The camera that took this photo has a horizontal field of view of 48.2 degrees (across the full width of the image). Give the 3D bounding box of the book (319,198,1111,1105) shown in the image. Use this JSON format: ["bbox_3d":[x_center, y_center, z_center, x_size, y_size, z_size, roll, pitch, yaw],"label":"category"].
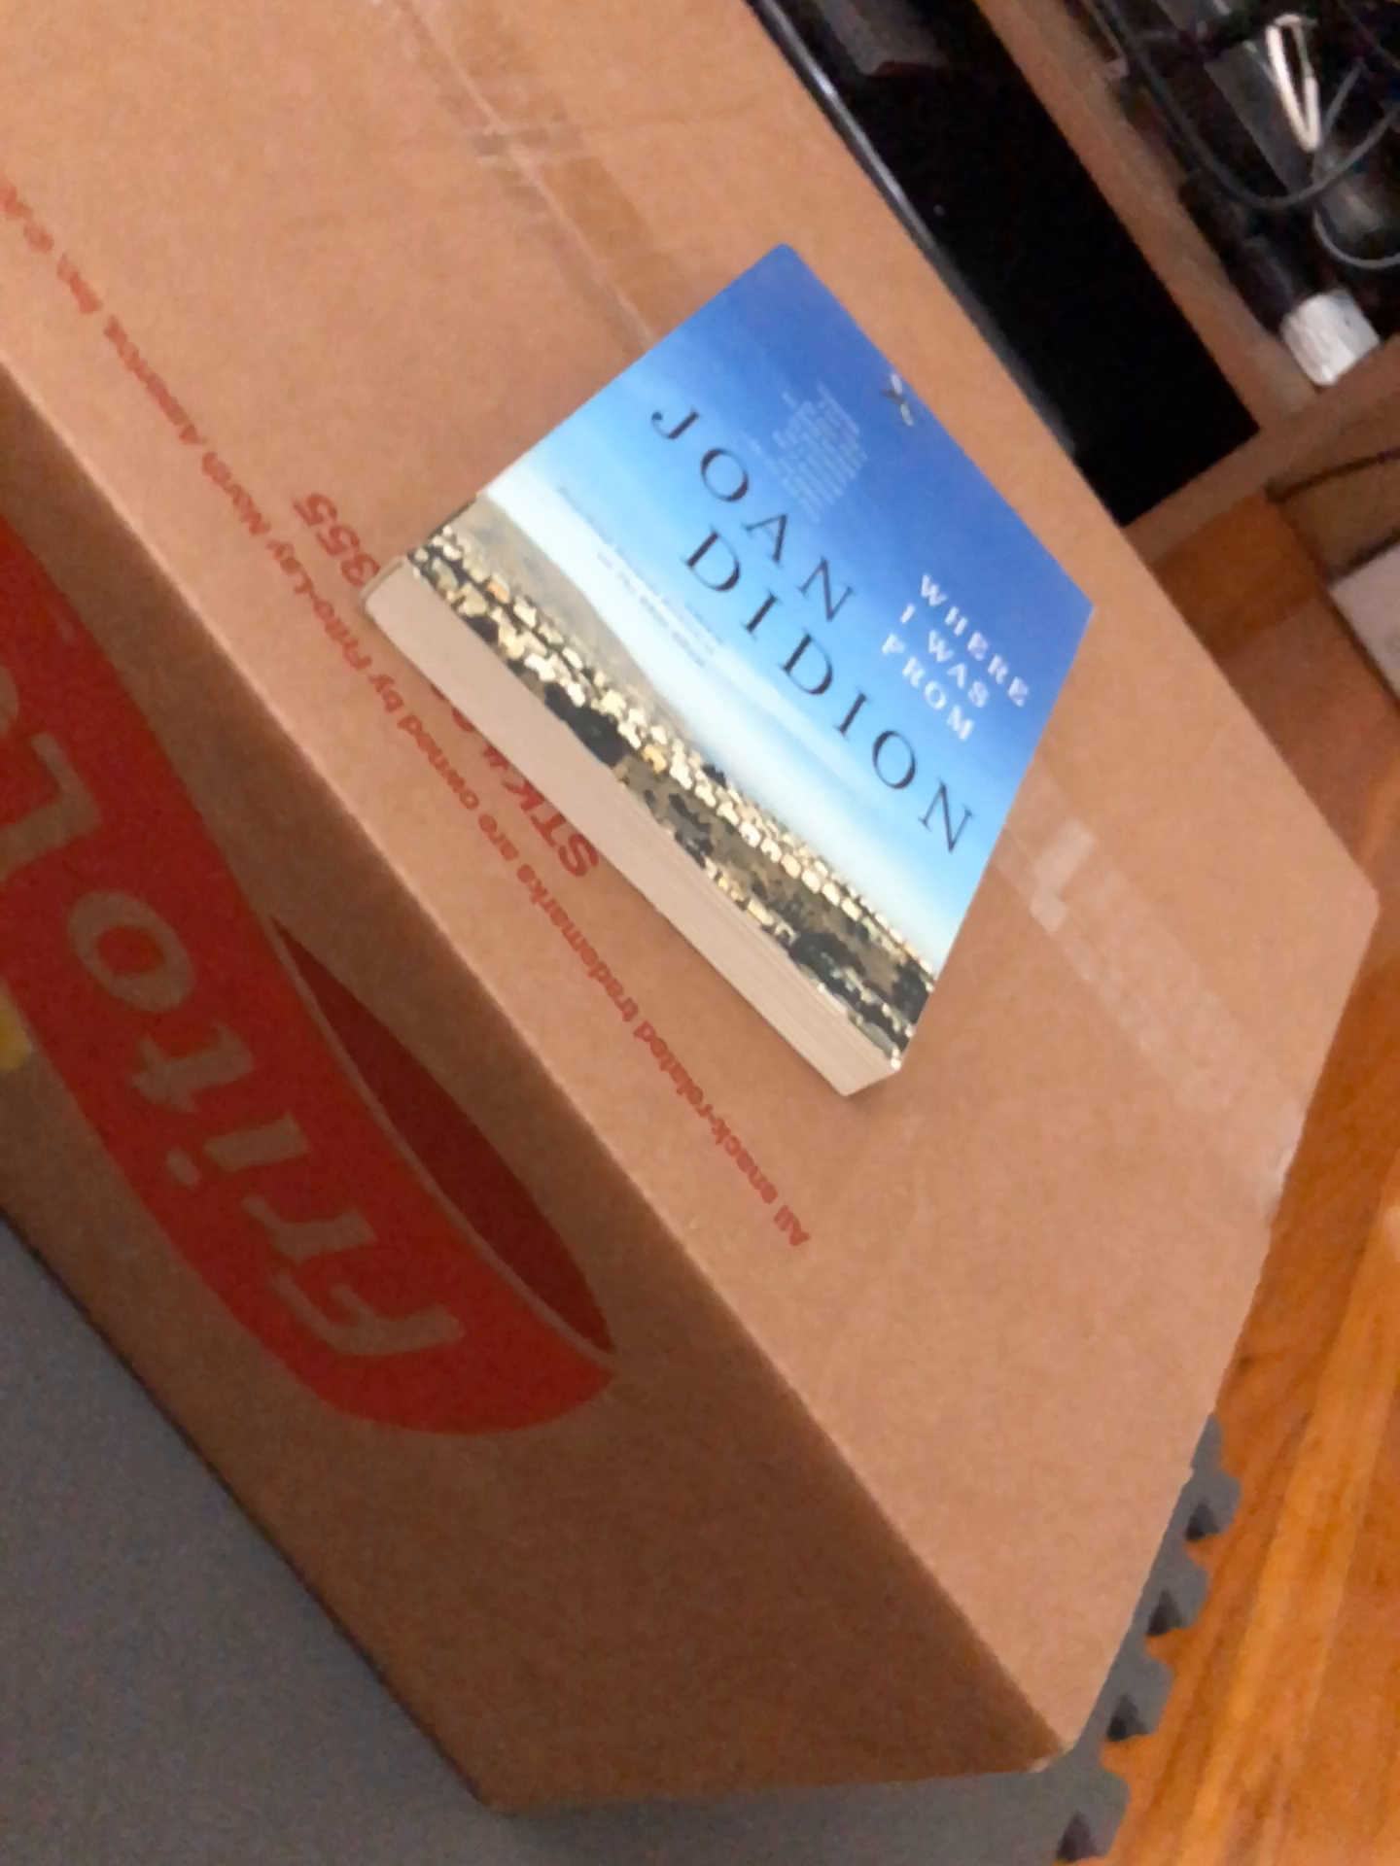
[{"bbox_3d":[0.025,-0.081,0.361,0.140,0.020,0.211,45,42,-13],"label":"book"}]
